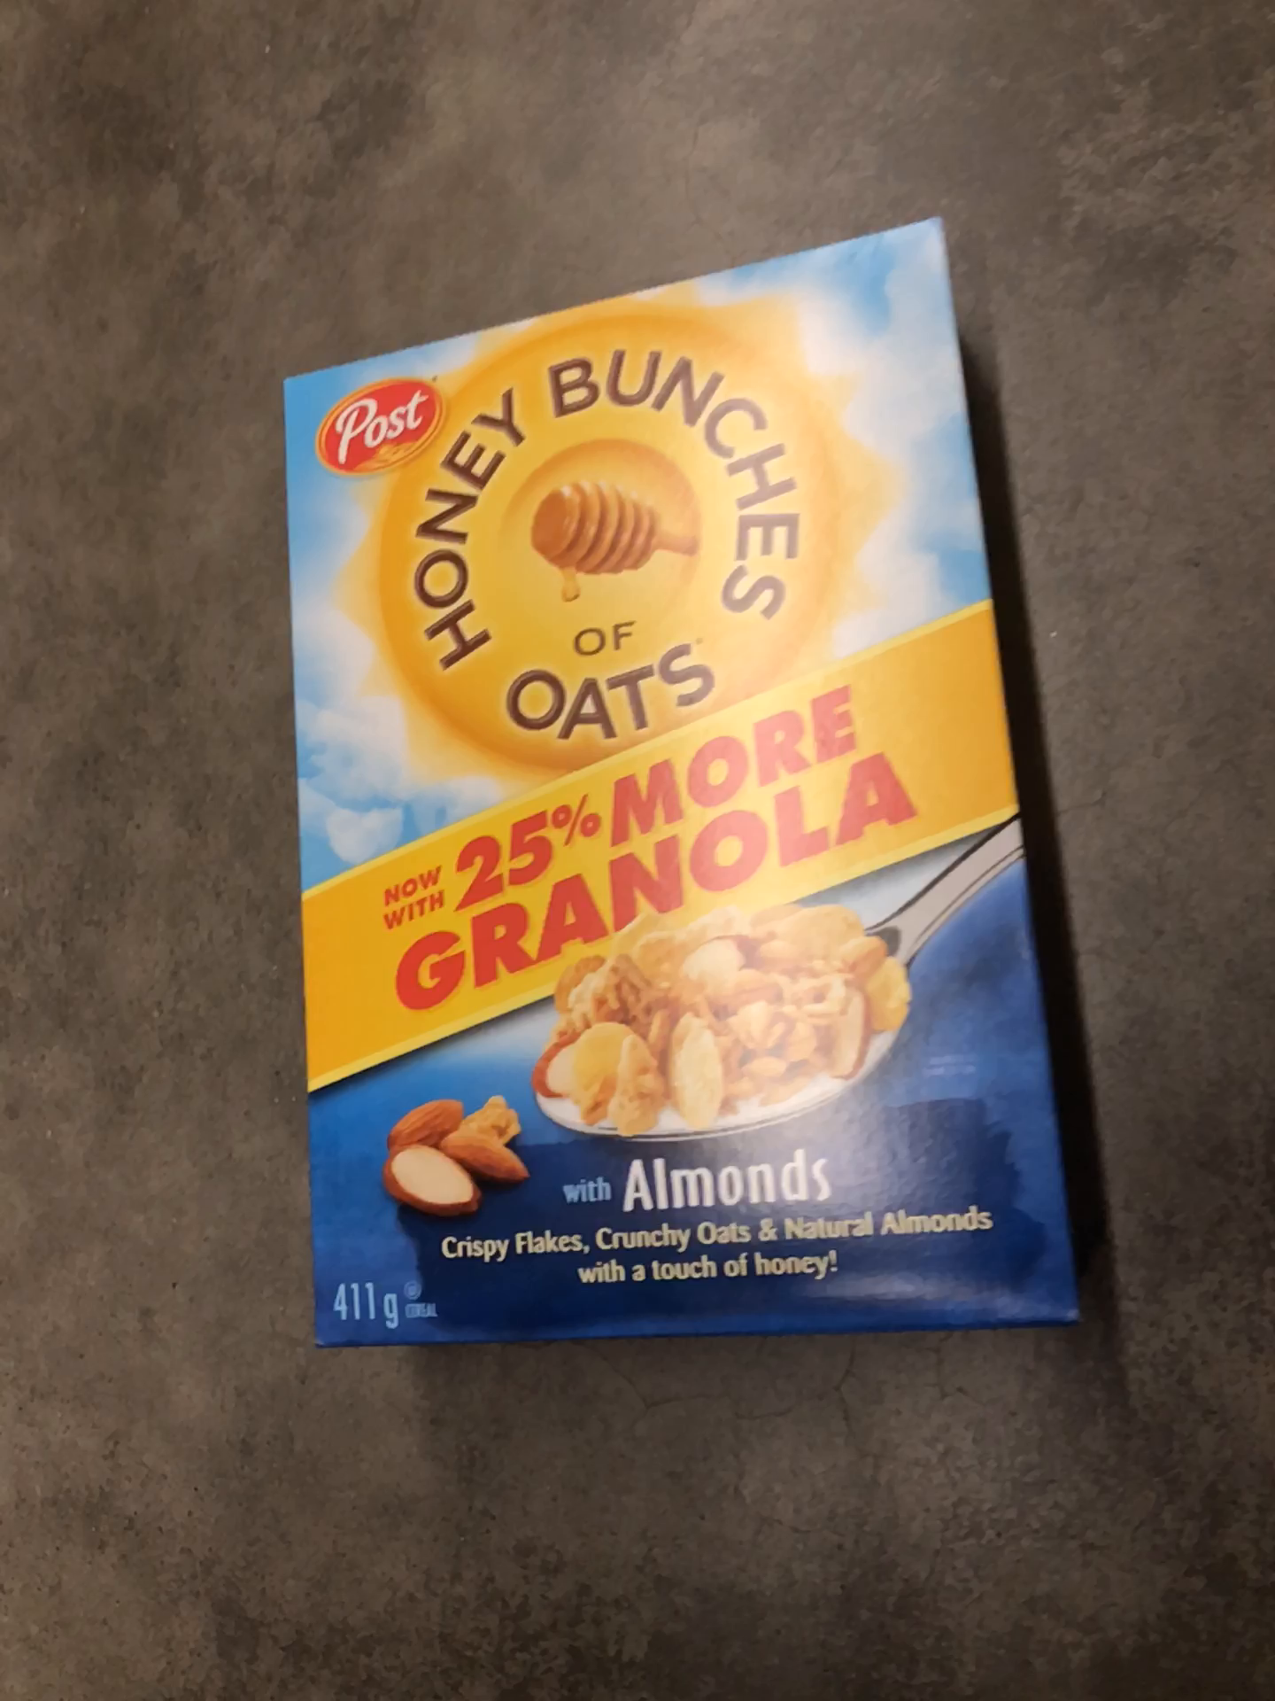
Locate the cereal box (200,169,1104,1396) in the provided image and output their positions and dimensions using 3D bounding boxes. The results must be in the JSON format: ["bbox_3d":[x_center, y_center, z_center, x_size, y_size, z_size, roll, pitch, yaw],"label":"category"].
[{"bbox_3d":[-0.004,-0.010,0.365,0.200,0.060,0.270,-8,80,16],"label":"cereal box"}]
